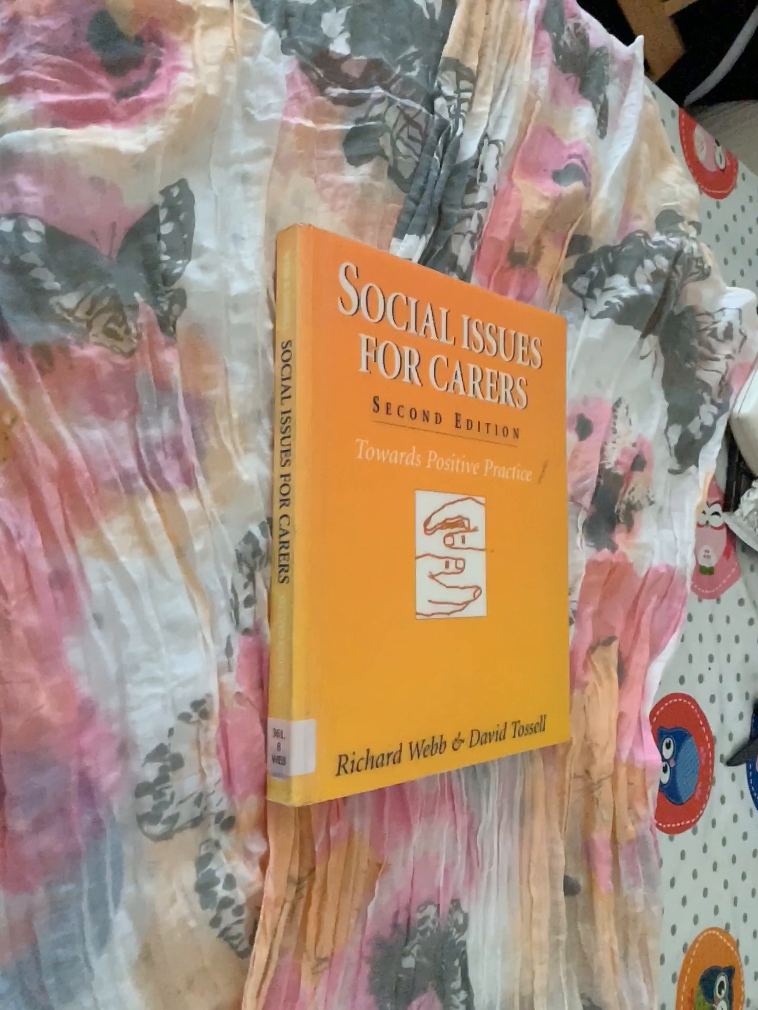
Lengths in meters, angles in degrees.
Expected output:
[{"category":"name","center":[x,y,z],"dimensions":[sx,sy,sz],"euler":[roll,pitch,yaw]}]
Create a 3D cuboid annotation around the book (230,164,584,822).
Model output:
[{"category":"book","center":[0.026,-0.003,0.397],"dimensions":[0.201,0.040,0.270],"euler":[4,84,-40]}]
